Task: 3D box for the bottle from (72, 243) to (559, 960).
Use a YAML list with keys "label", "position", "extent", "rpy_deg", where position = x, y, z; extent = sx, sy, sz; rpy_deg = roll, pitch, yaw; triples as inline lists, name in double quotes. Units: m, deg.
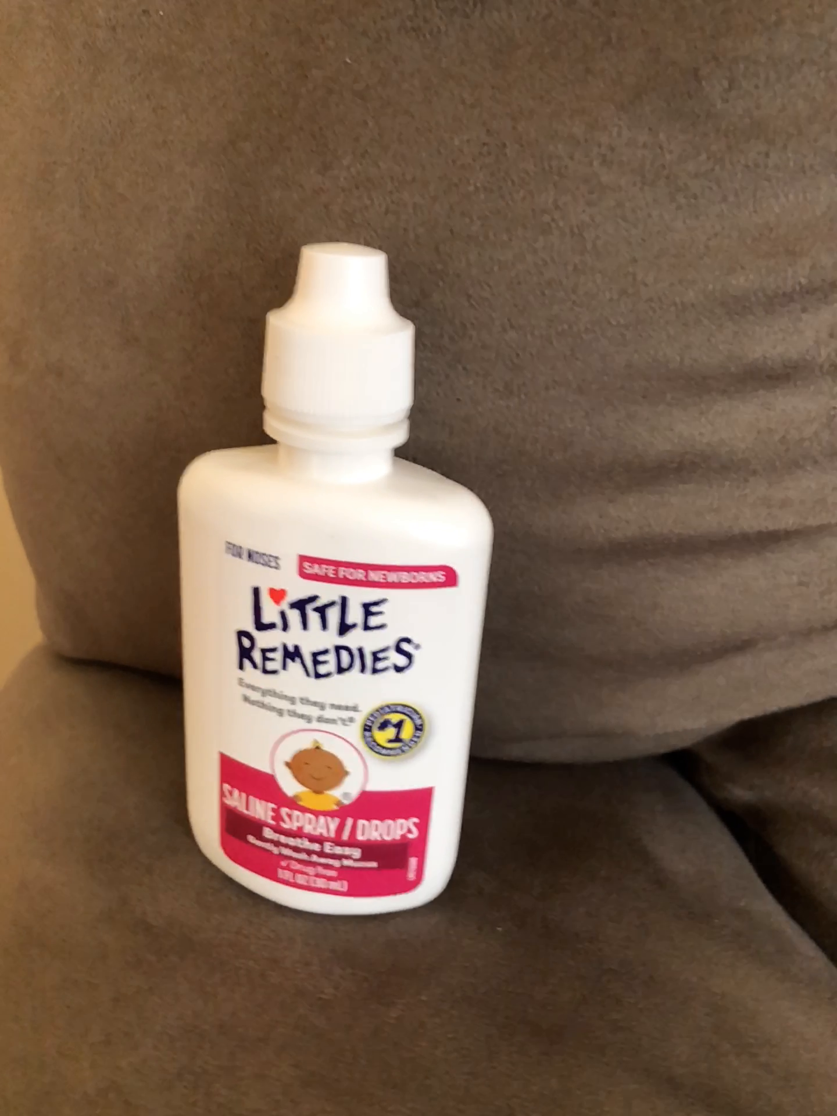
- label: "bottle"
  position: [-0.013, 0.009, 0.157]
  extent: [0.060, 0.110, 0.030]
  rpy_deg: [8, 28, 15]
